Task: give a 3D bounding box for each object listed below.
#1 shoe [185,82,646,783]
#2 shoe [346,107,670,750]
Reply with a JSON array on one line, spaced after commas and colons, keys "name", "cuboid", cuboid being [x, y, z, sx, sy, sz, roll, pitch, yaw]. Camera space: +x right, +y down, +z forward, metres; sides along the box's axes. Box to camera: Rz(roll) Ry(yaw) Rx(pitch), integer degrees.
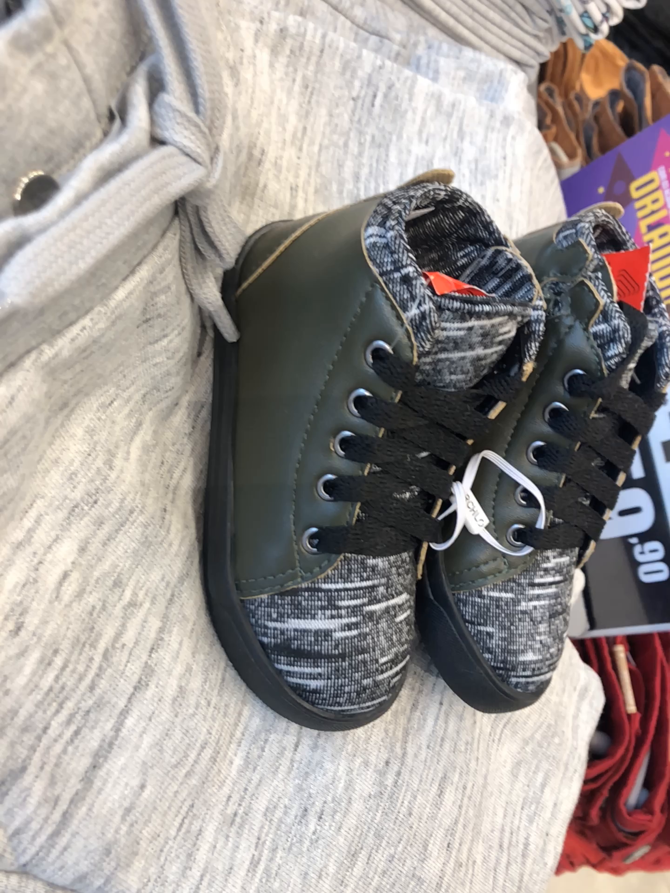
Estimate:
[{"name": "shoe", "cuboid": [0.017, 0.001, 0.225, 0.080, 0.089, 0.160, 4, 75, -40]}, {"name": "shoe", "cuboid": [0.075, -0.001, 0.252, 0.080, 0.089, 0.170, 0, 77, -40]}]
